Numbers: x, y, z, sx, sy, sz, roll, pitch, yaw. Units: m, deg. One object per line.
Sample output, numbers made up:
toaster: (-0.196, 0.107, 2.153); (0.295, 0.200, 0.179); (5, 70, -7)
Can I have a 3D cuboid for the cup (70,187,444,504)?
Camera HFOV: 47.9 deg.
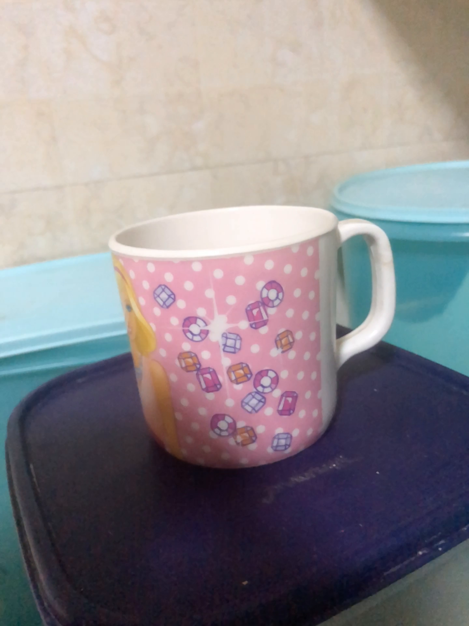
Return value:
cup: (0.008, 0.000, 0.215); (0.120, 0.080, 0.080); (-14, 21, -23)
